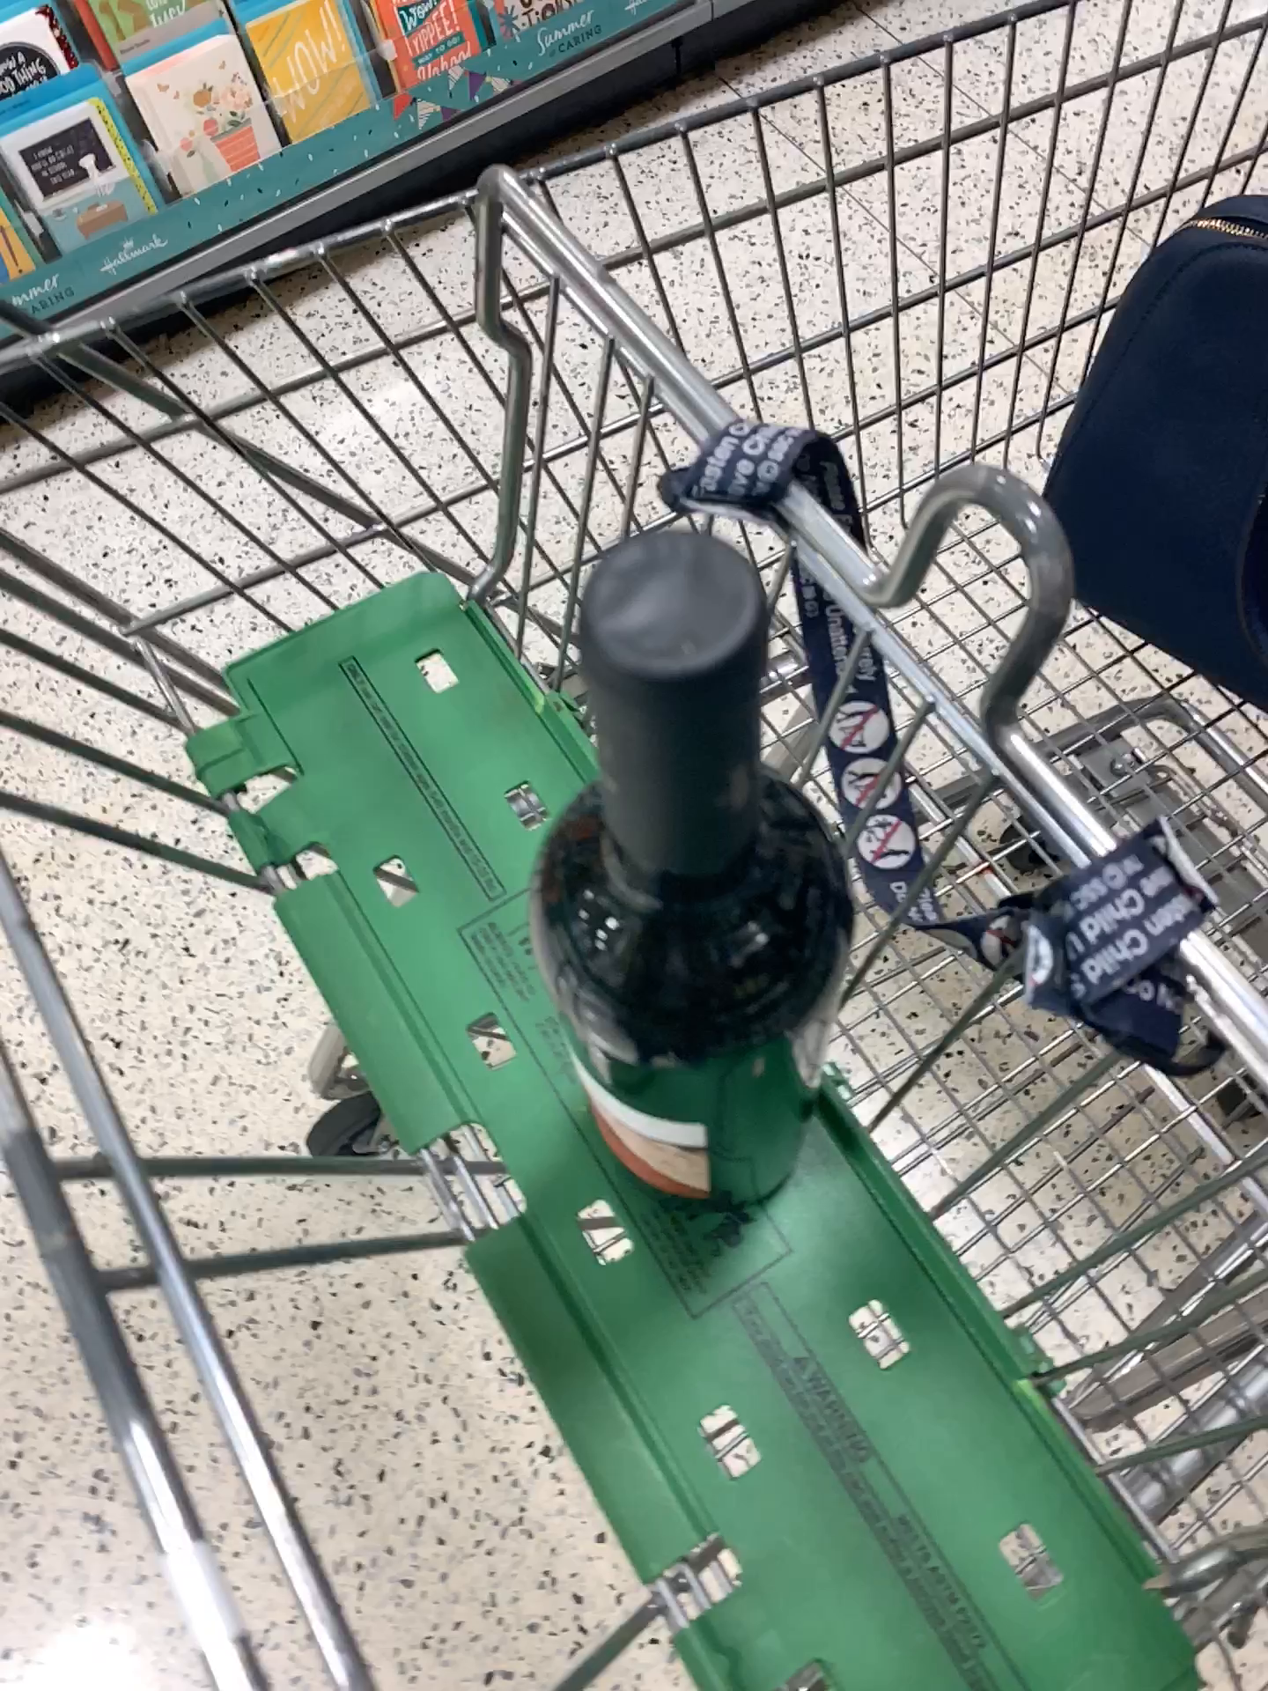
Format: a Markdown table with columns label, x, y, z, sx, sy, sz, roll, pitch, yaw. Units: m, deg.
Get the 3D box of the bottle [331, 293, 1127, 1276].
| label | x | y | z | sx | sy | sz | roll | pitch | yaw |
| --- | --- | --- | --- | --- | --- | --- | --- | --- | --- |
| bottle | 0.018 | 0.027 | 0.313 | 0.080 | 0.298 | 0.080 | -1 | 64 | 3 |
